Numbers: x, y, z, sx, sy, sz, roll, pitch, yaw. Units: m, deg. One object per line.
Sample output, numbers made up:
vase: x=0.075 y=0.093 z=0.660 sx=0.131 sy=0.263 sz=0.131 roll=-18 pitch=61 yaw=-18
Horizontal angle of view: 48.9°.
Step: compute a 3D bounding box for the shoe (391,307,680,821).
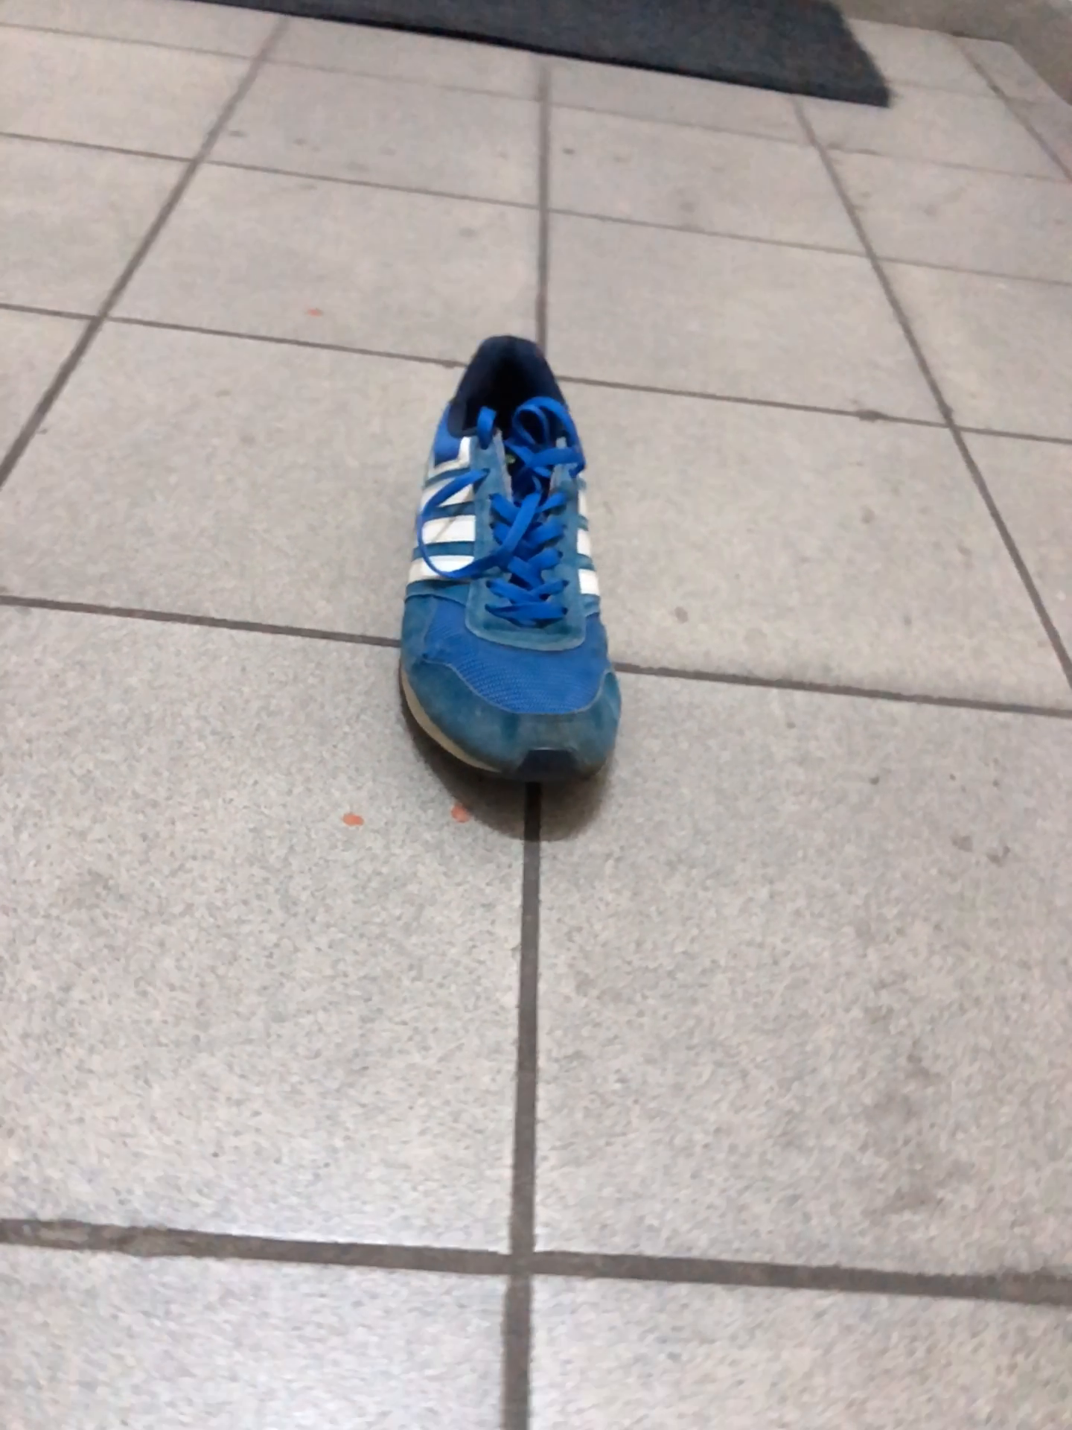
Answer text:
shoe: x=-0.016 y=-0.091 z=0.603 sx=0.110 sy=0.099 sz=0.294 roll=2 pitch=43 yaw=-9
